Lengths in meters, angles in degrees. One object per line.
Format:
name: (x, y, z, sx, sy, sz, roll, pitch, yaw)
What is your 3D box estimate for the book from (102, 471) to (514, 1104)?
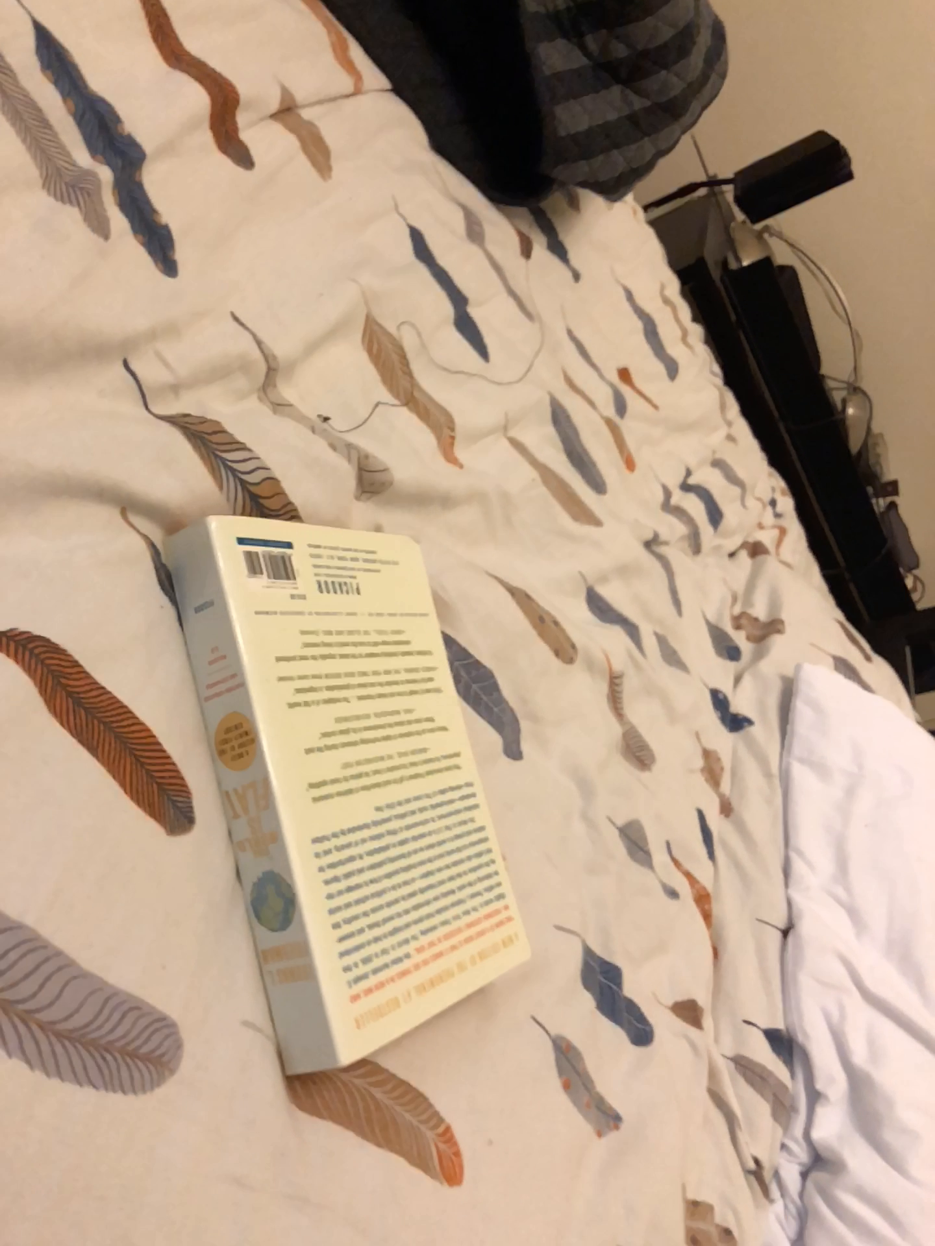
book: (-0.057, 0.056, 0.433, 0.151, 0.040, 0.220, -3, 76, -63)
